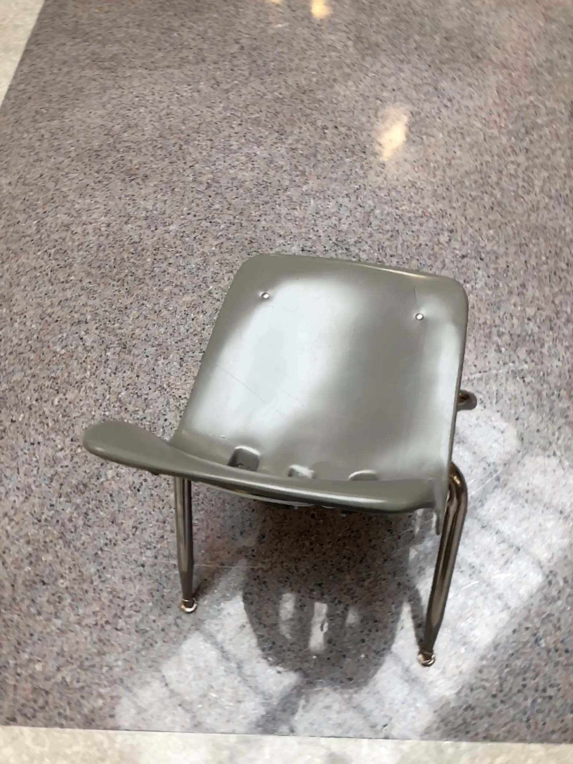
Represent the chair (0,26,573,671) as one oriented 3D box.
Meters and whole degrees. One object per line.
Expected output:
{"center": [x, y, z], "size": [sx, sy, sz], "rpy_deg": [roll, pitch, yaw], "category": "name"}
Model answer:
{"center": [0.038, 0.011, 0.868], "size": [0.510, 0.667, 0.552], "rpy_deg": [9, 61, 10], "category": "chair"}
